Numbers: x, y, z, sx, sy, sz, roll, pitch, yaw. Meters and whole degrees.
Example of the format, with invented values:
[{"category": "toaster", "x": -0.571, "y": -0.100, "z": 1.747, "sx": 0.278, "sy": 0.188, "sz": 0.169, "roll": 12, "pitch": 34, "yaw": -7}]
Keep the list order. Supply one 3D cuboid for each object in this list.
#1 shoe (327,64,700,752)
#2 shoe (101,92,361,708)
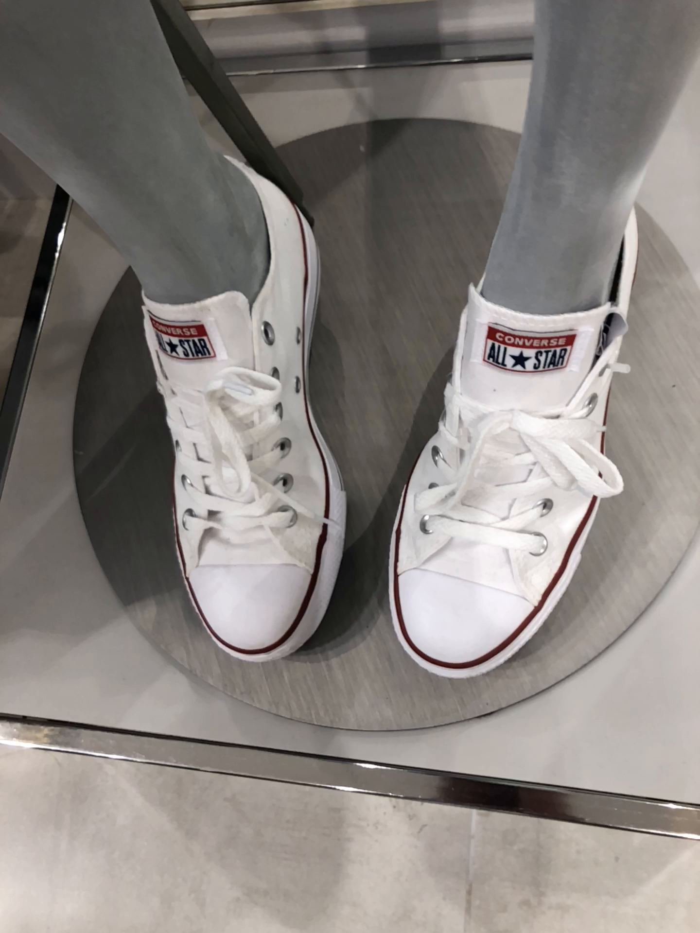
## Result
[{"category": "shoe", "x": 0.081, "y": -0.029, "z": 0.375, "sx": 0.110, "sy": 0.090, "sz": 0.280, "roll": 11, "pitch": 90, "yaw": 15}, {"category": "shoe", "x": -0.055, "y": -0.028, "z": 0.393, "sx": 0.100, "sy": 0.090, "sz": 0.270, "roll": -2, "pitch": 87, "yaw": 11}]
